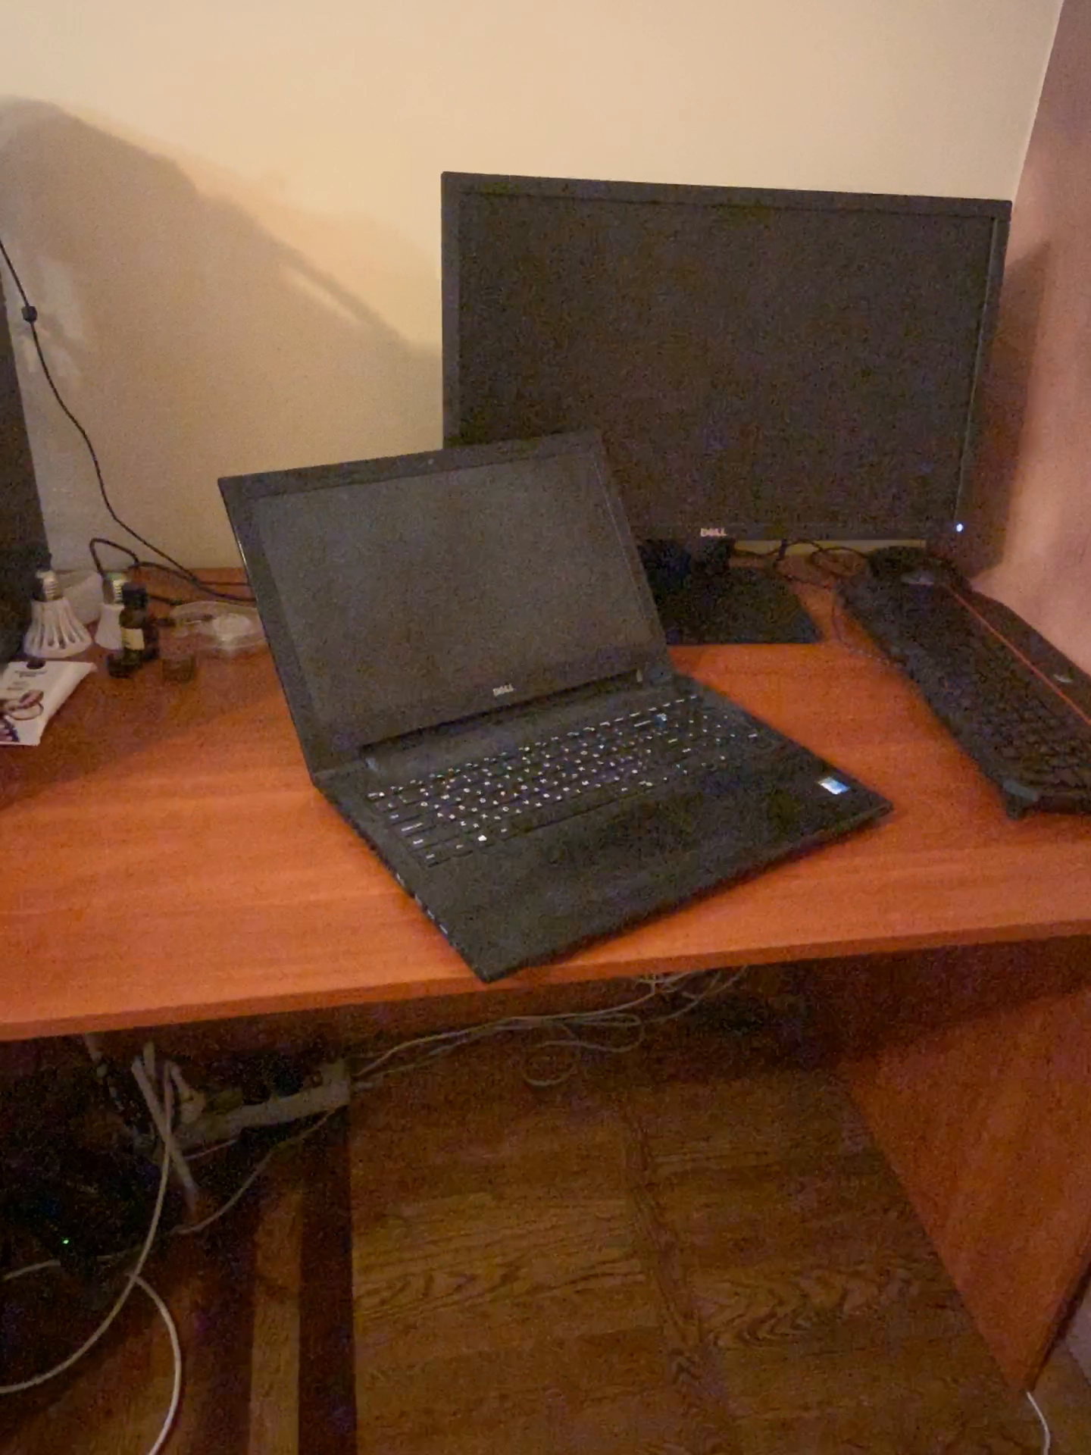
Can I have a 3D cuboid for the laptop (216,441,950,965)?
[{"bbox_3d":[0.004,-0.062,0.827,0.356,0.181,0.394,-15,33,-31],"label":"laptop"}]
